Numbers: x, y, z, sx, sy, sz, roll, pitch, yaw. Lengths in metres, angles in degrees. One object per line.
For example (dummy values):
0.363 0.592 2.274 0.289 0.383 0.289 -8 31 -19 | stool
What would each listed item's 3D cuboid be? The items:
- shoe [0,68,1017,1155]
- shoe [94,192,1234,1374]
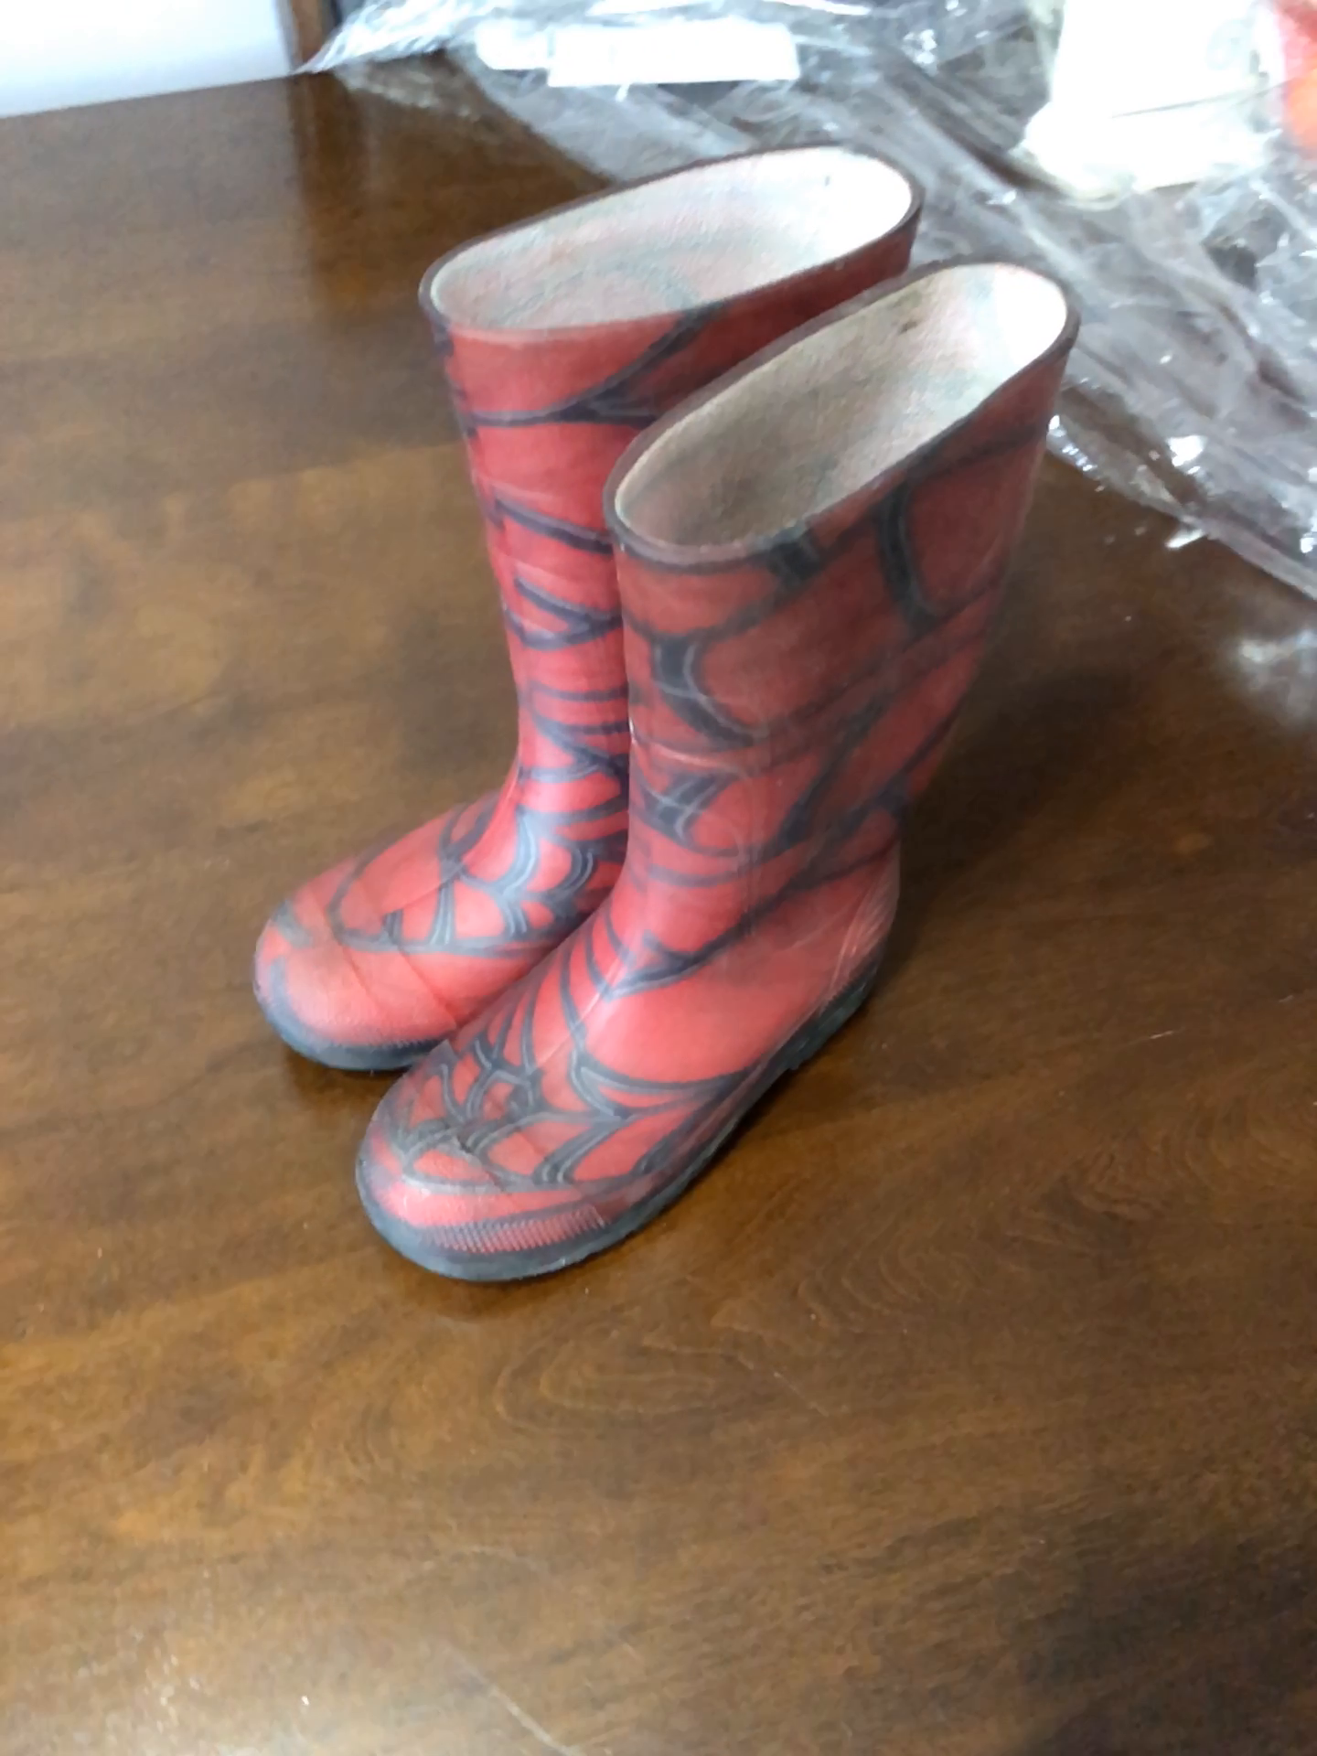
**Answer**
-0.034 -0.060 0.412 0.220 0.239 0.080 -28 60 -19 | shoe
0.009 -0.009 0.379 0.220 0.239 0.080 -34 62 -22 | shoe
